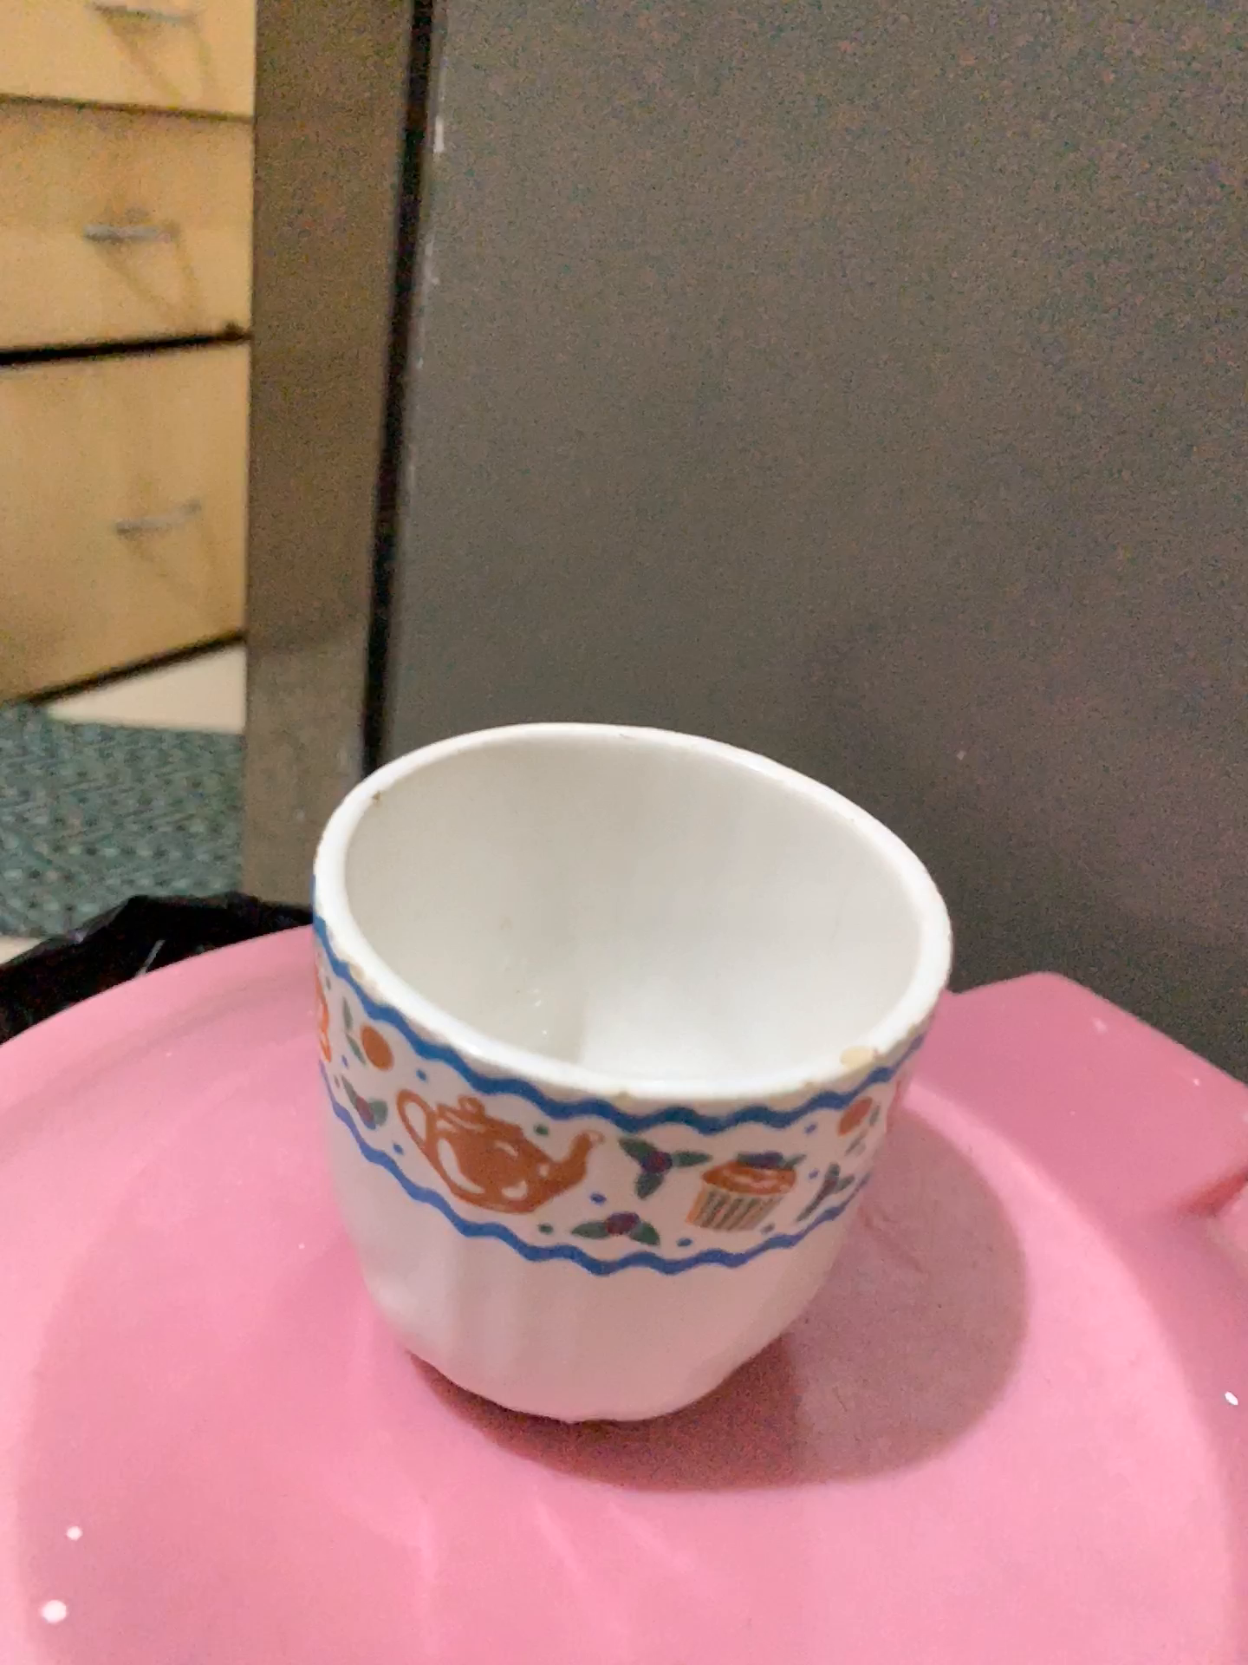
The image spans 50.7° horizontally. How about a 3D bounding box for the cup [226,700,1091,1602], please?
[{"bbox_3d":[-0.004,0.029,0.157,0.070,0.060,0.070,8,29,-4],"label":"cup"}]
